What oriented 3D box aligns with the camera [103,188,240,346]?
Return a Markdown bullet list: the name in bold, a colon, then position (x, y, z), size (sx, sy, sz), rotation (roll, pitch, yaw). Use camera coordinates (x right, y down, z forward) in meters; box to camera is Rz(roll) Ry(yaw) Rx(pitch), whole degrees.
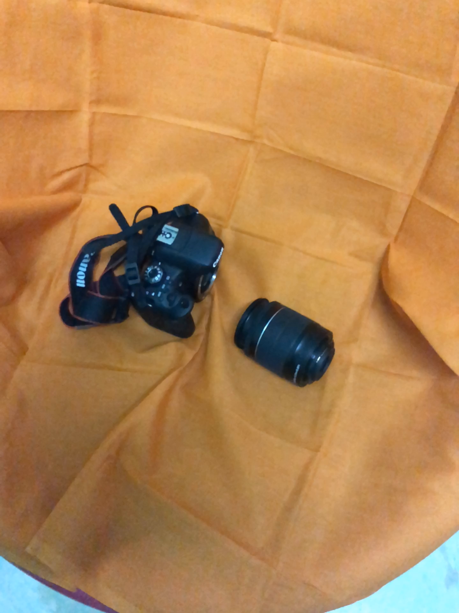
- **camera**: position (-0.057, -0.044, 0.560), size (0.092, 0.071, 0.134), rotation (21, 68, 11)
